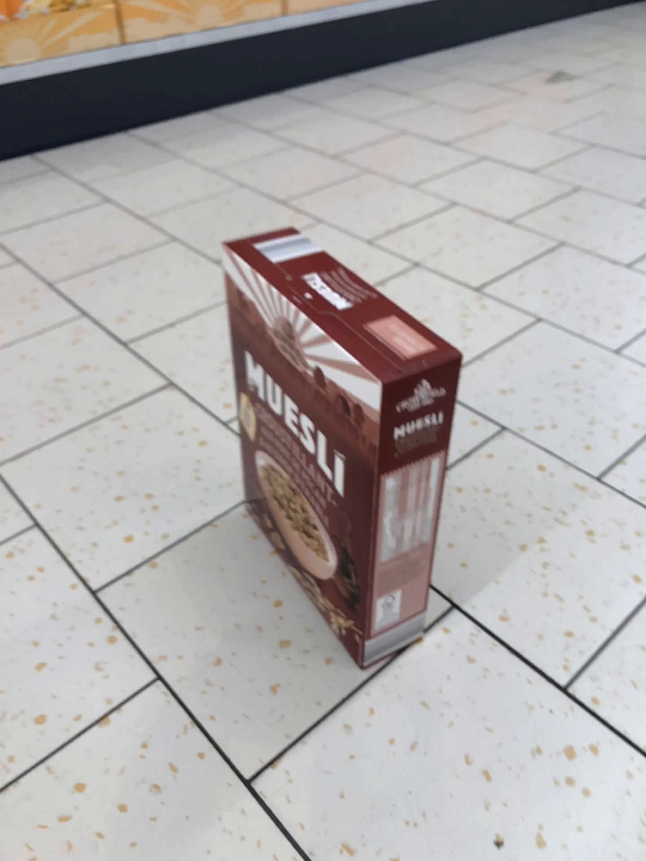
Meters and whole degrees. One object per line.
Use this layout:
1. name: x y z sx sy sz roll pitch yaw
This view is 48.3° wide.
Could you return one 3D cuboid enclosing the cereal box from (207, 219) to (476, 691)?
1. cereal box: 0.002 0.017 0.492 0.060 0.248 0.201 -20 43 -22
